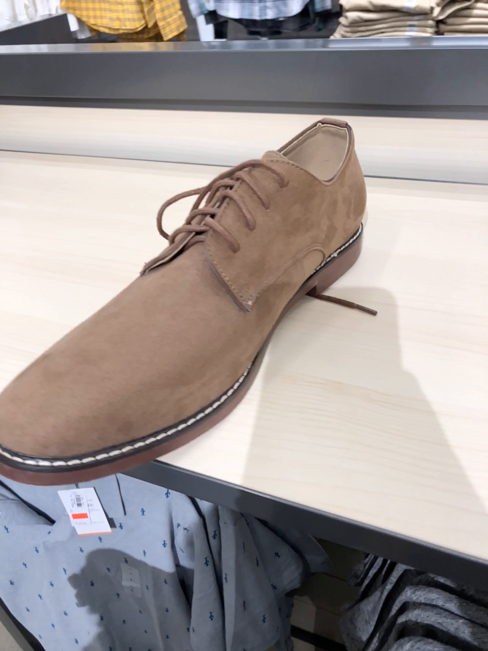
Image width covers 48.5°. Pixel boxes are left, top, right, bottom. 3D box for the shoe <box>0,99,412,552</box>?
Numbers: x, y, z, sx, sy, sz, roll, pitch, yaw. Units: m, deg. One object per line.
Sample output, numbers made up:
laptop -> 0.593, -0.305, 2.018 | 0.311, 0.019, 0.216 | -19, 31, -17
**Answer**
shoe -> -0.023, -0.037, 0.337 | 0.120, 0.110, 0.300 | 22, 46, 33
